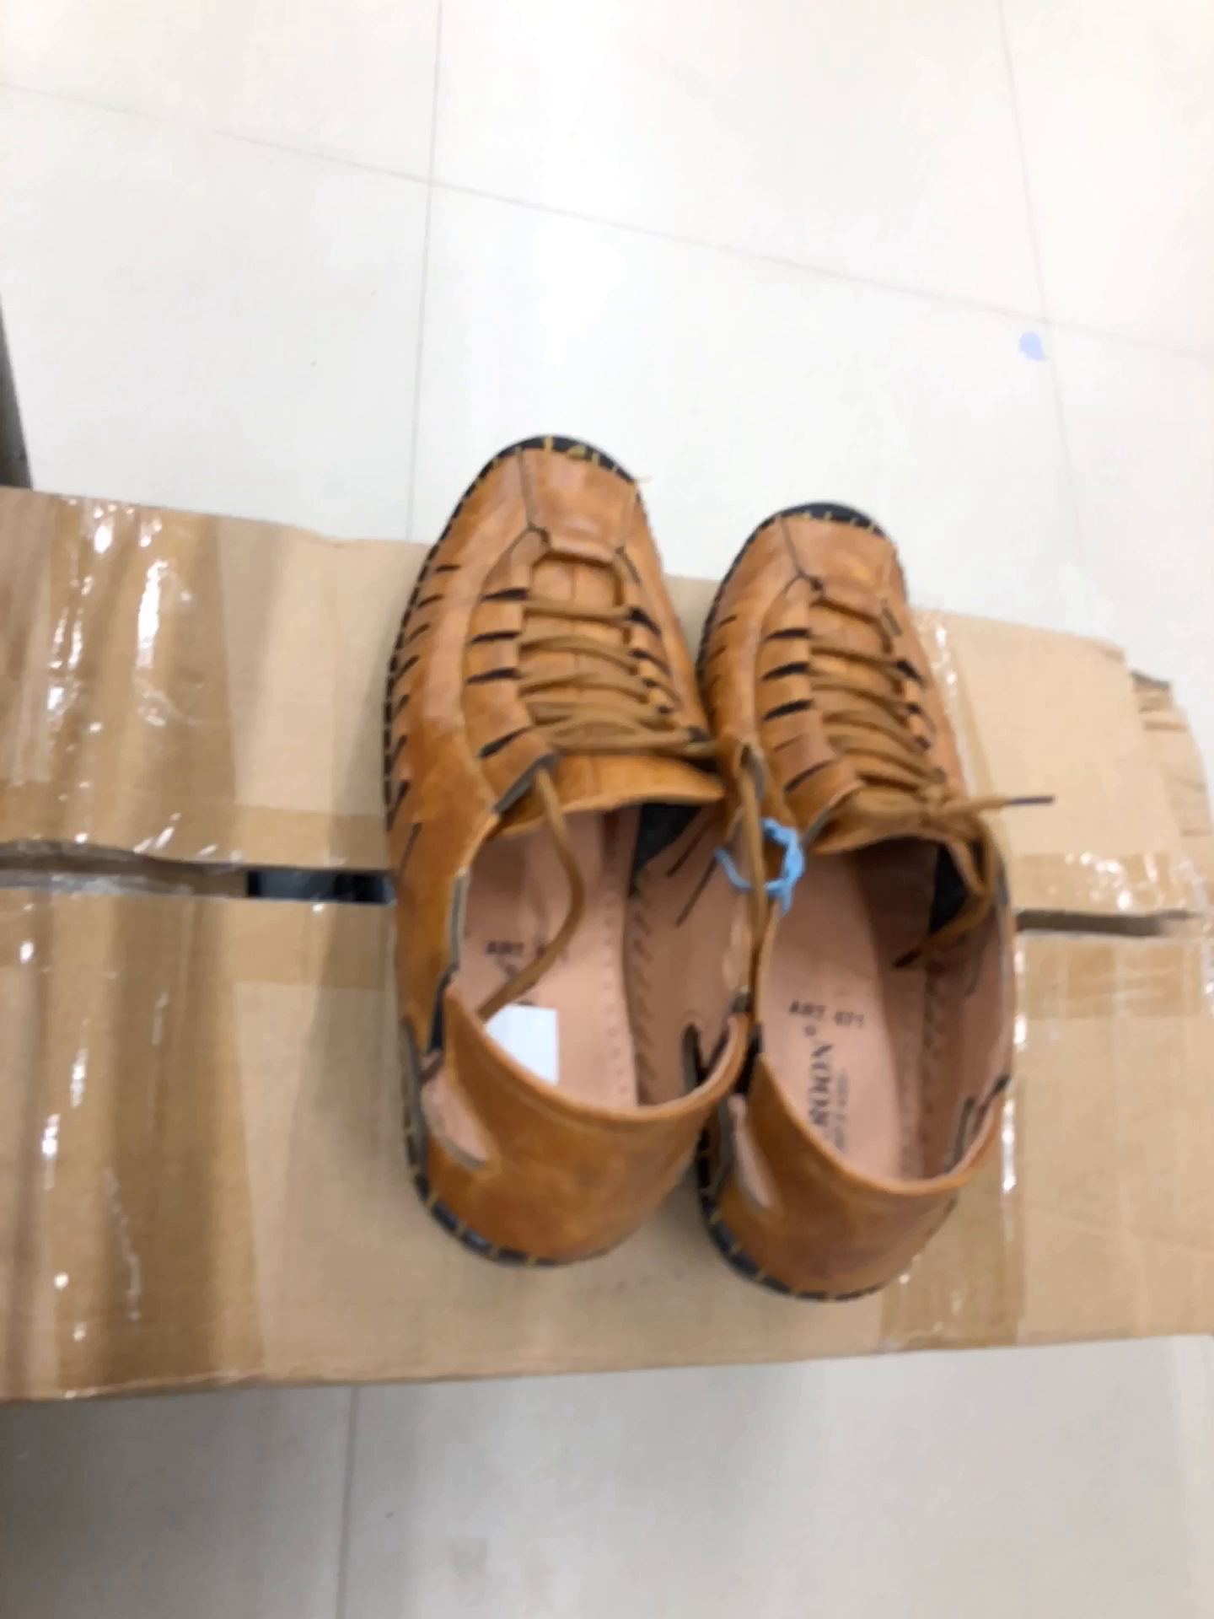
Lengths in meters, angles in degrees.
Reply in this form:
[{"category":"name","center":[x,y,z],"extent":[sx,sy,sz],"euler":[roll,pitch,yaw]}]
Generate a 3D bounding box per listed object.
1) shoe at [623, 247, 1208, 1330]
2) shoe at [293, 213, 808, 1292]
[{"category":"shoe","center":[0.086,-0.004,0.414],"extent":[0.110,0.119,0.301],"euler":[11,67,-13]},{"category":"shoe","center":[-0.016,-0.012,0.402],"extent":[0.110,0.119,0.291],"euler":[9,67,-14]}]
